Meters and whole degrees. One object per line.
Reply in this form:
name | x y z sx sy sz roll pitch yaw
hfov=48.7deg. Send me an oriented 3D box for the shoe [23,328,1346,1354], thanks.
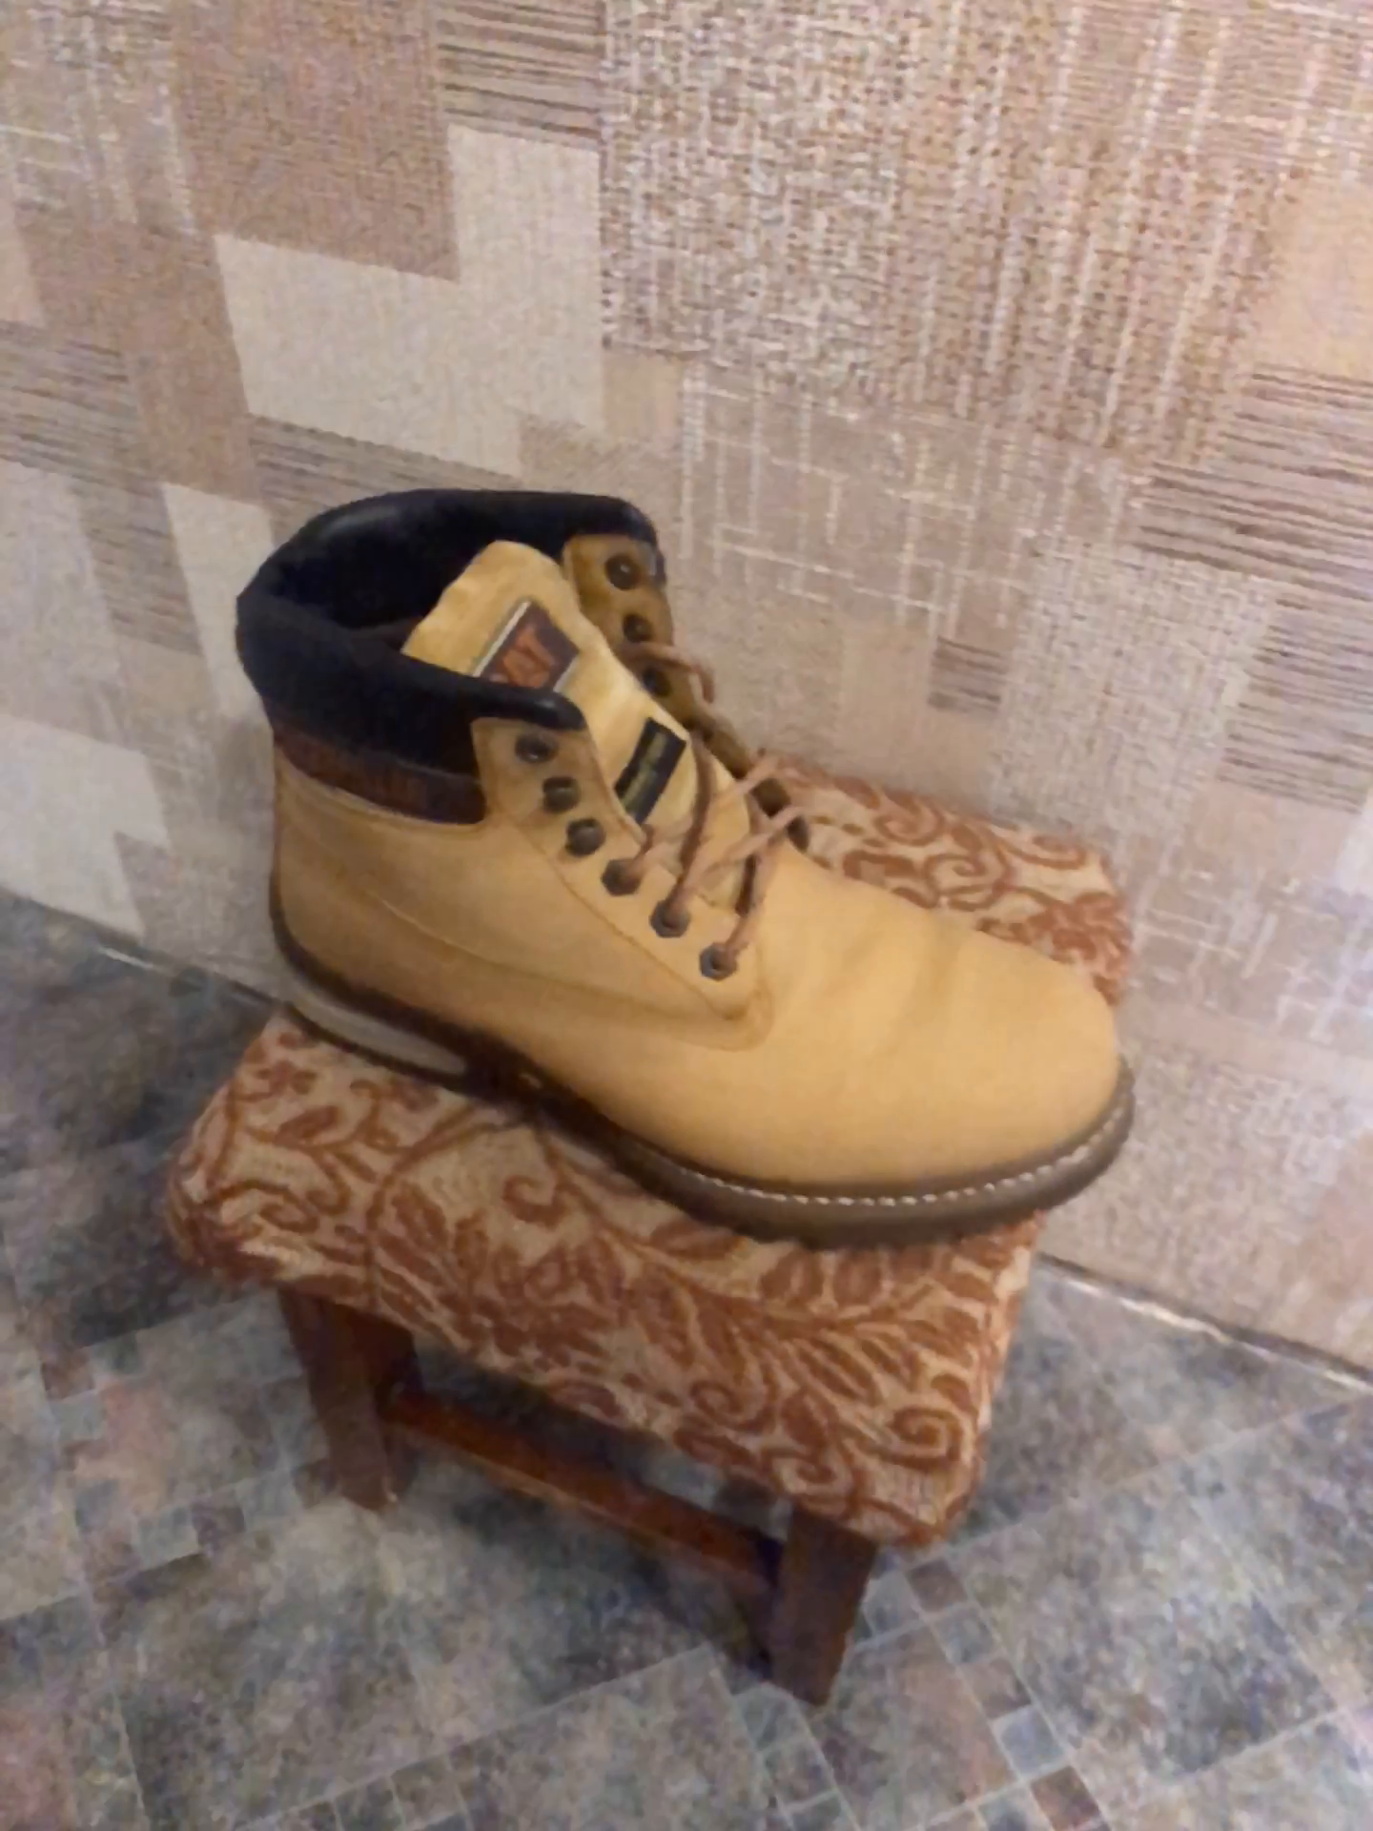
shoe | 0.002 -0.025 0.458 0.310 0.189 0.141 17 49 12
